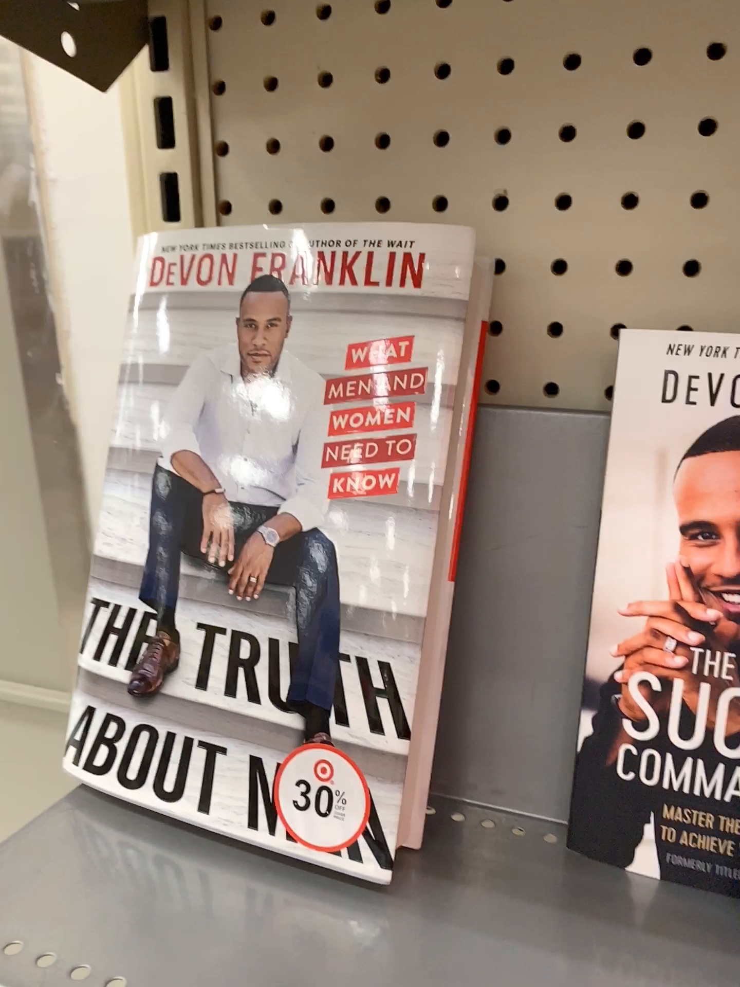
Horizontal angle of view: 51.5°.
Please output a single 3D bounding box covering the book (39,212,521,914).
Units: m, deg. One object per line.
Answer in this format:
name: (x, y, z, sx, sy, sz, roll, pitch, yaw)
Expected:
book: (-0.038, 0.013, 0.306, 0.160, 0.236, 0.040, 7, -3, 22)
